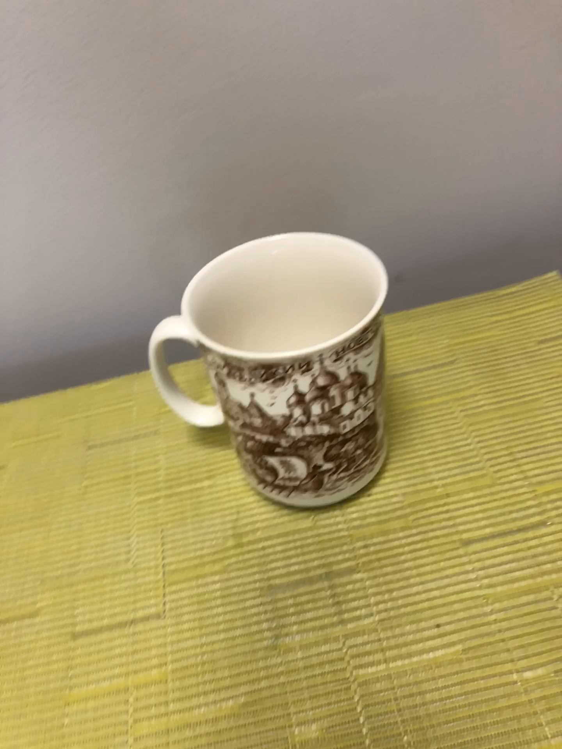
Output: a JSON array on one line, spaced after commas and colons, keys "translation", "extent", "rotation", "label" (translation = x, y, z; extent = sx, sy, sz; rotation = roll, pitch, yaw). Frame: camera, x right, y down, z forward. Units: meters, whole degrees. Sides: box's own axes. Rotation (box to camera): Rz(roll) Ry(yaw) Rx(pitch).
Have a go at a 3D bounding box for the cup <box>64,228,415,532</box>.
[{"translation": [-0.006, -0.002, 0.290], "extent": [0.124, 0.092, 0.095], "rotation": [4, 45, 17], "label": "cup"}]
